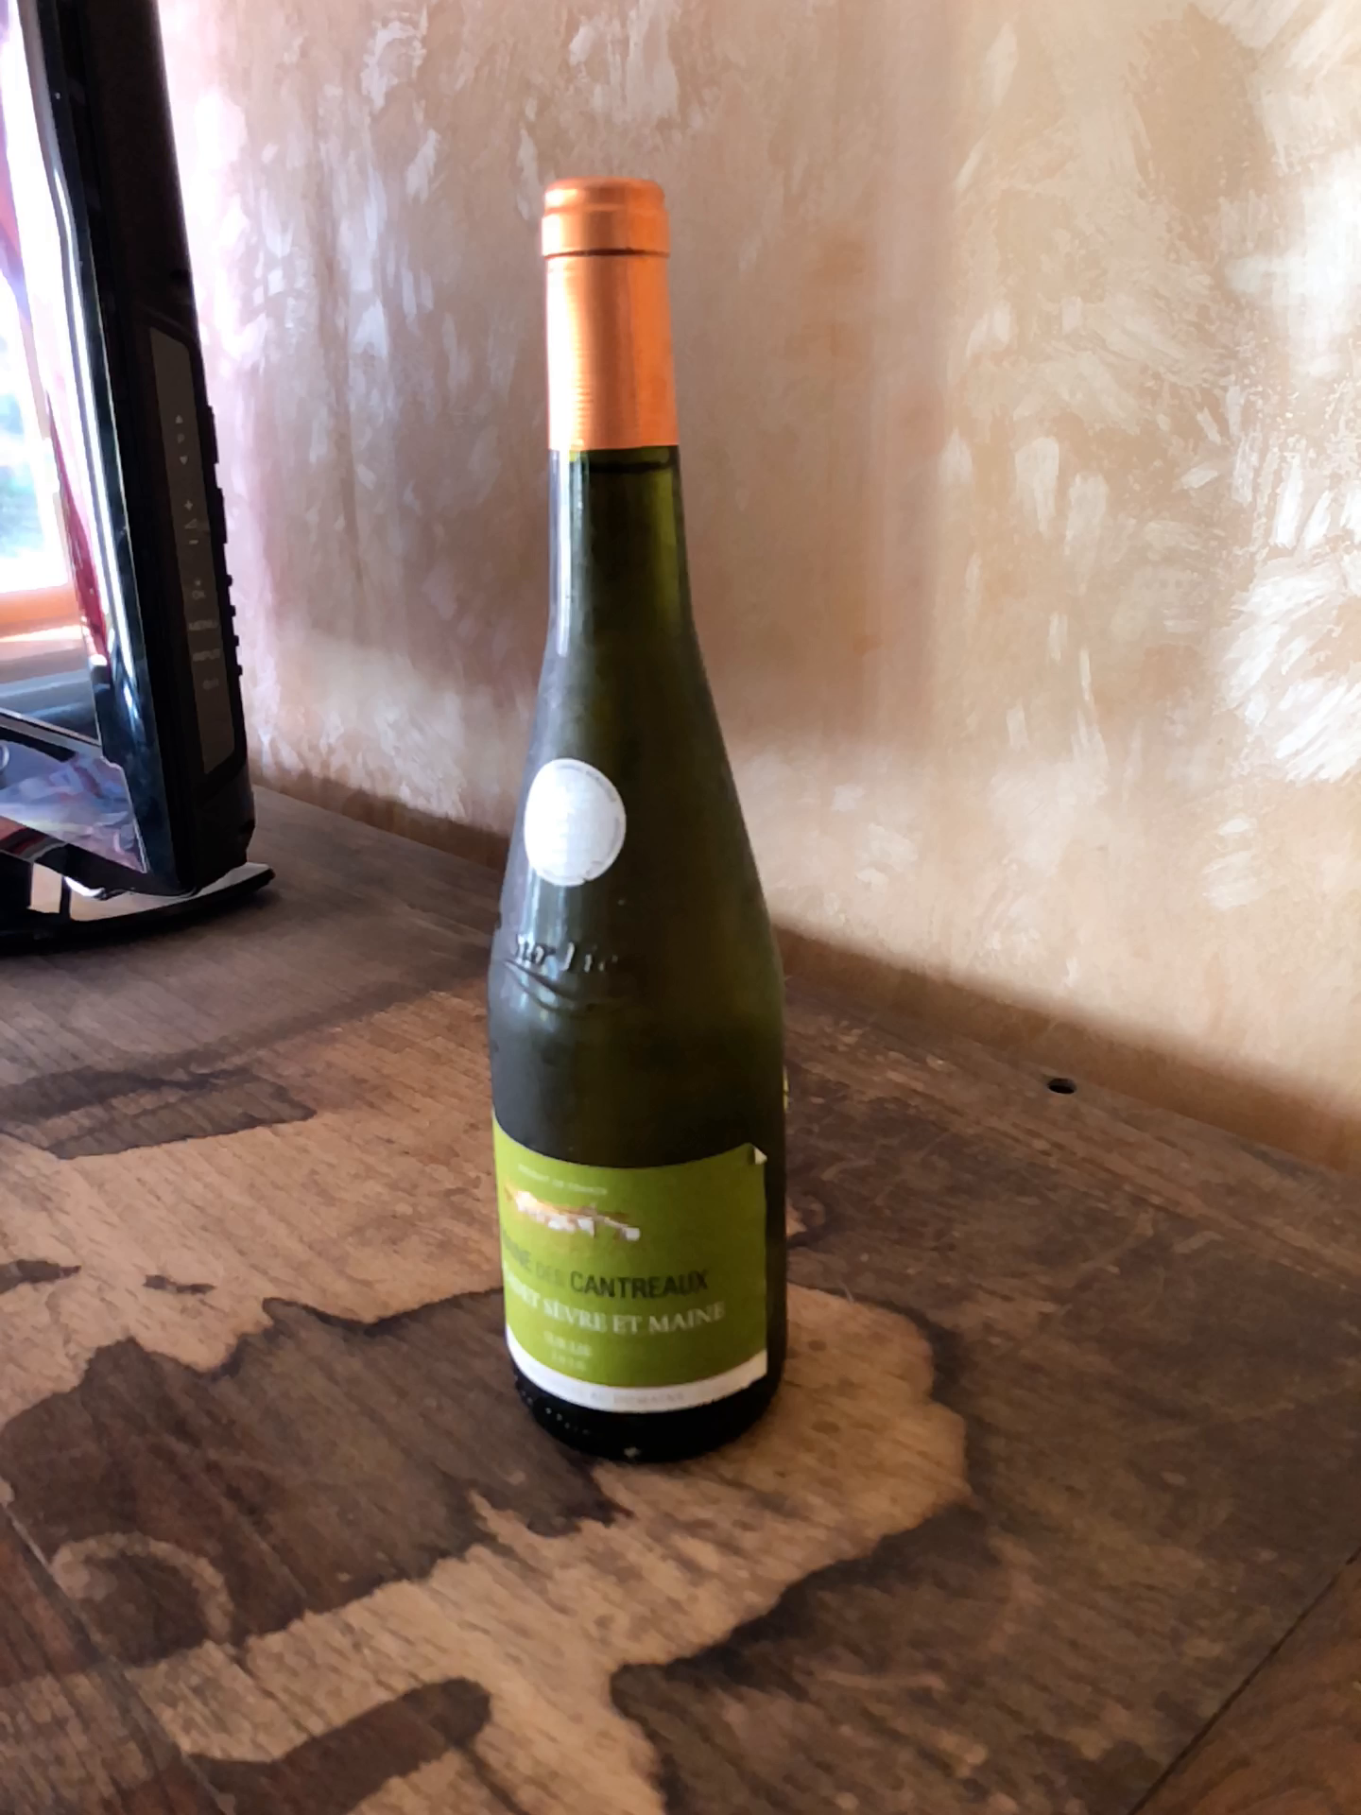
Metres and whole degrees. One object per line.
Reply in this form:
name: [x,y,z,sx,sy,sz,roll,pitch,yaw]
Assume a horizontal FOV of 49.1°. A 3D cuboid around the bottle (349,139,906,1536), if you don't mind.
bottle: [-0.010,-0.011,0.372,0.090,0.309,0.080,15,25,38]
